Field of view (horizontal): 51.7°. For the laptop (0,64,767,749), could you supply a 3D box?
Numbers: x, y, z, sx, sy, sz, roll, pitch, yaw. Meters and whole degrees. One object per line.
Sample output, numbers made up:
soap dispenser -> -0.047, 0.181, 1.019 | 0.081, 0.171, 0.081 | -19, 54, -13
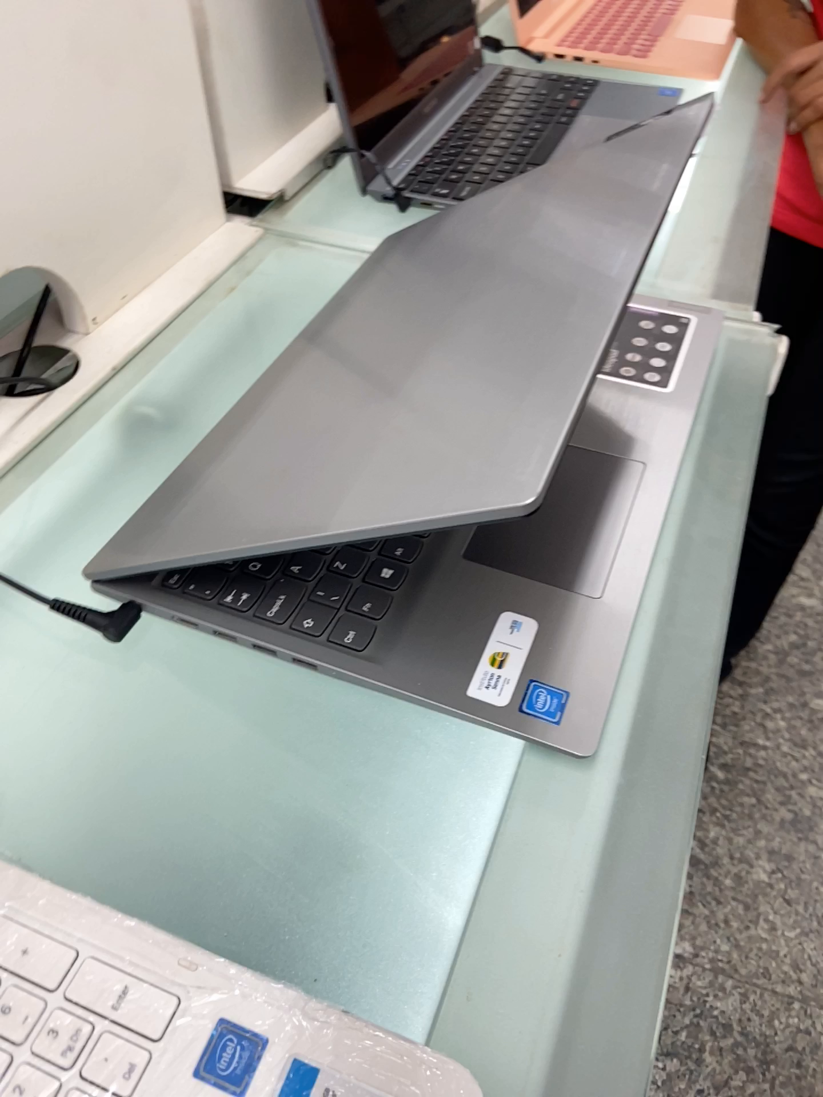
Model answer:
laptop -> 0.022, -0.118, 0.449 | 0.249, 0.127, 0.365 | 16, 48, 15

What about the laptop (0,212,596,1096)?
laptop -> -0.227, 0.174, 0.116 | 0.383, 0.202, 0.412 | 18, 49, 17
